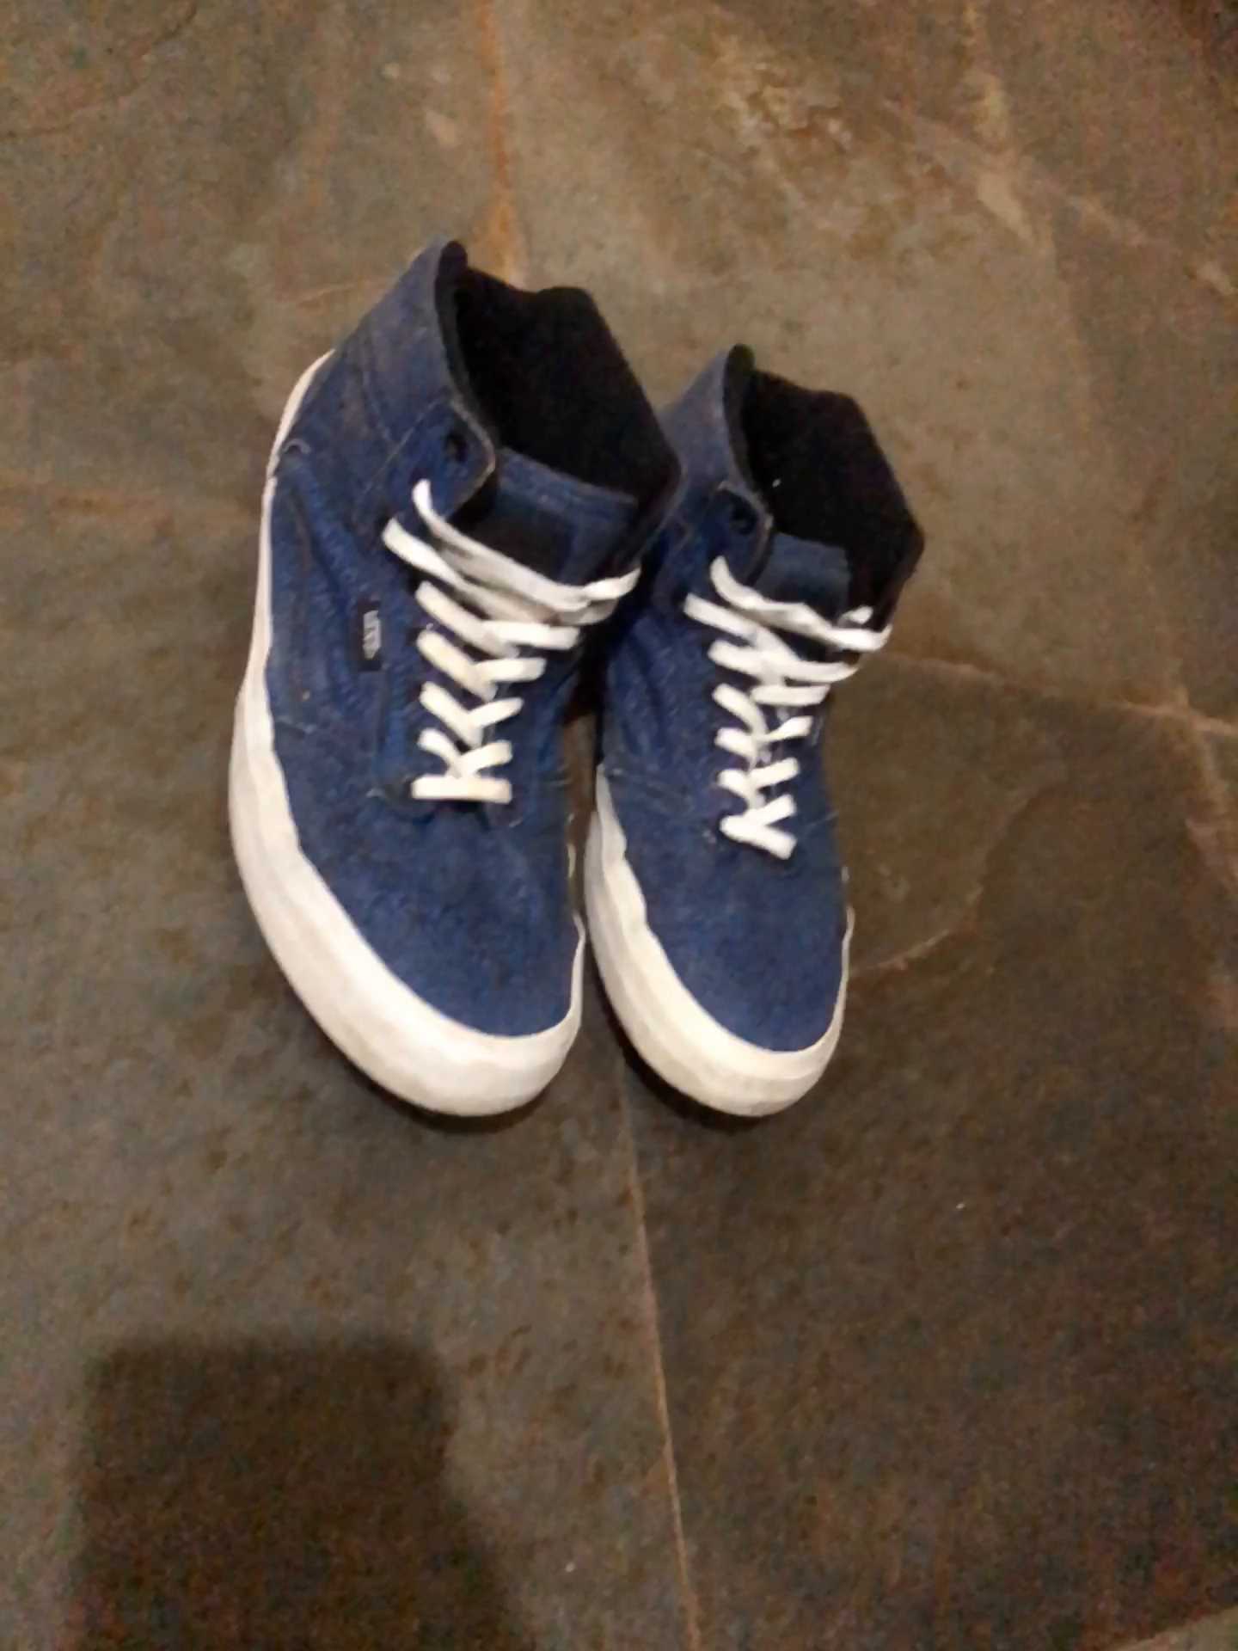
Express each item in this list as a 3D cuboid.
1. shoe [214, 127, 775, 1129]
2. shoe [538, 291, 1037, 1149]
[{"bbox_3d":[-0.051,-0.055,0.435,0.121,0.109,0.281,8,64,-32],"label":"shoe"},{"bbox_3d":[0.050,-0.035,0.493,0.121,0.089,0.281,11,63,-31],"label":"shoe"}]
